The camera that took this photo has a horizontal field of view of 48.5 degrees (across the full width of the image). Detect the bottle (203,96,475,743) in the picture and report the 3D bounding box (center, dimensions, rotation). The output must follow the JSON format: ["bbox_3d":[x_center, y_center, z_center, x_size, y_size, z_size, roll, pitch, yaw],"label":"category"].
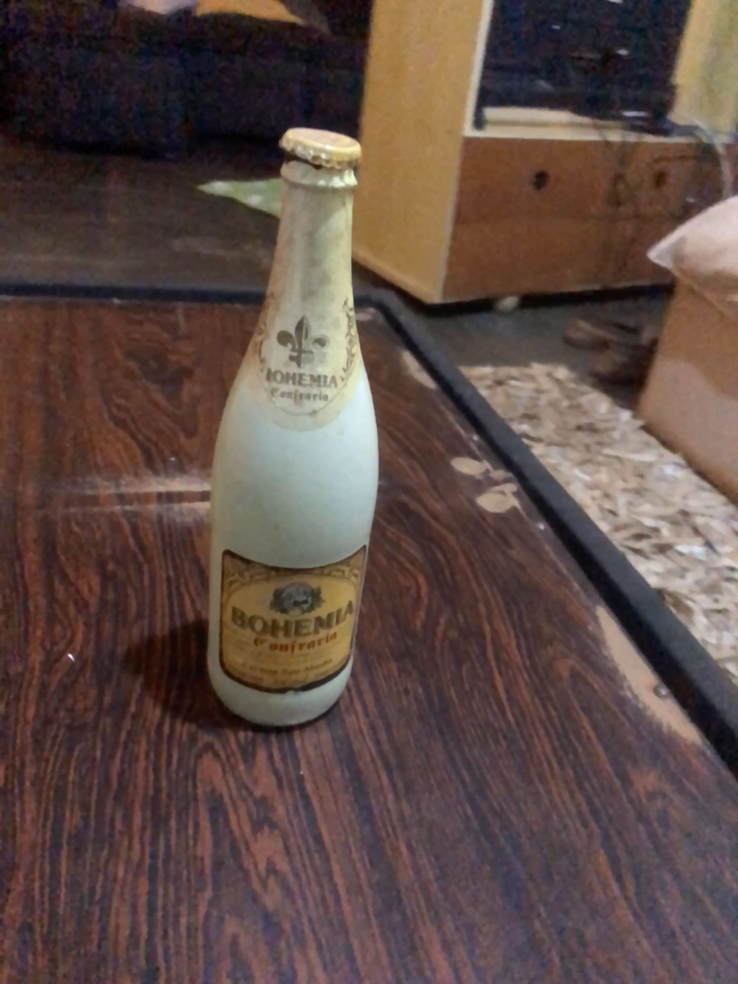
[{"bbox_3d":[-0.027,-0.018,0.336,0.080,0.248,0.081,5,30,-3],"label":"bottle"}]
